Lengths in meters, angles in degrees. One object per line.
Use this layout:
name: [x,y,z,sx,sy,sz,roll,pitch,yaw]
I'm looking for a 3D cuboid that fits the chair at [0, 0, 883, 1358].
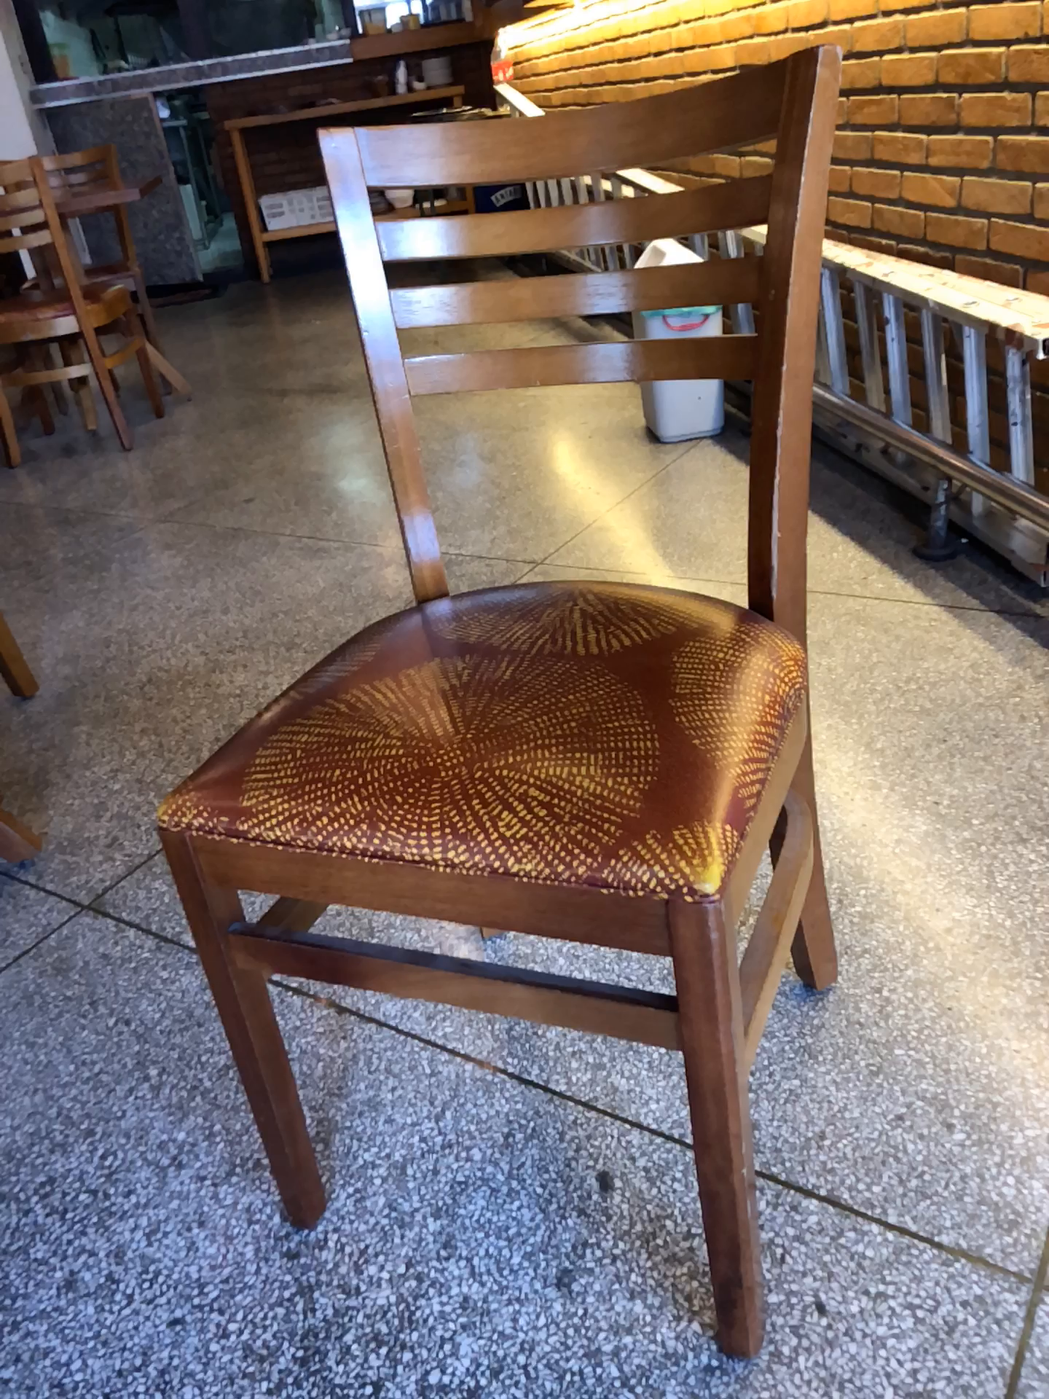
chair: [0.019,-0.034,0.893,0.450,0.844,0.473,3,30,22]
